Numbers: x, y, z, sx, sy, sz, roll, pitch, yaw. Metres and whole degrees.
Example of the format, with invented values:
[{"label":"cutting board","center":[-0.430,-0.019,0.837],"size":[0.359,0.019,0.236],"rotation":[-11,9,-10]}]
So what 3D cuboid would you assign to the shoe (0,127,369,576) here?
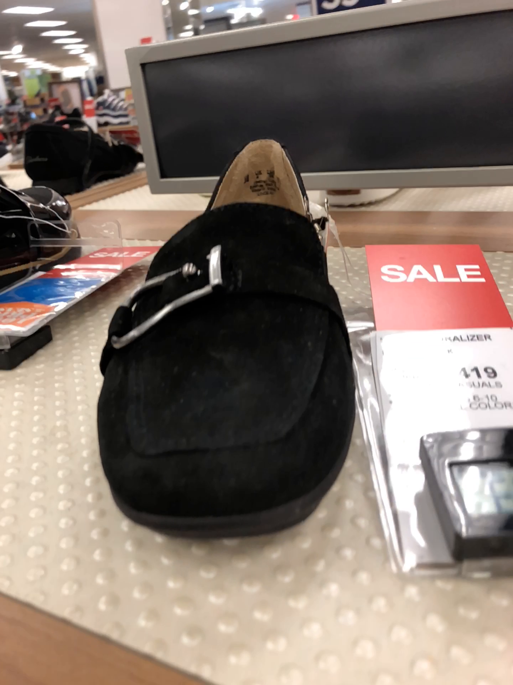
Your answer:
[{"label":"shoe","center":[-0.008,-0.031,0.229],"size":[0.080,0.079,0.239],"rotation":[-4,24,7]}]
